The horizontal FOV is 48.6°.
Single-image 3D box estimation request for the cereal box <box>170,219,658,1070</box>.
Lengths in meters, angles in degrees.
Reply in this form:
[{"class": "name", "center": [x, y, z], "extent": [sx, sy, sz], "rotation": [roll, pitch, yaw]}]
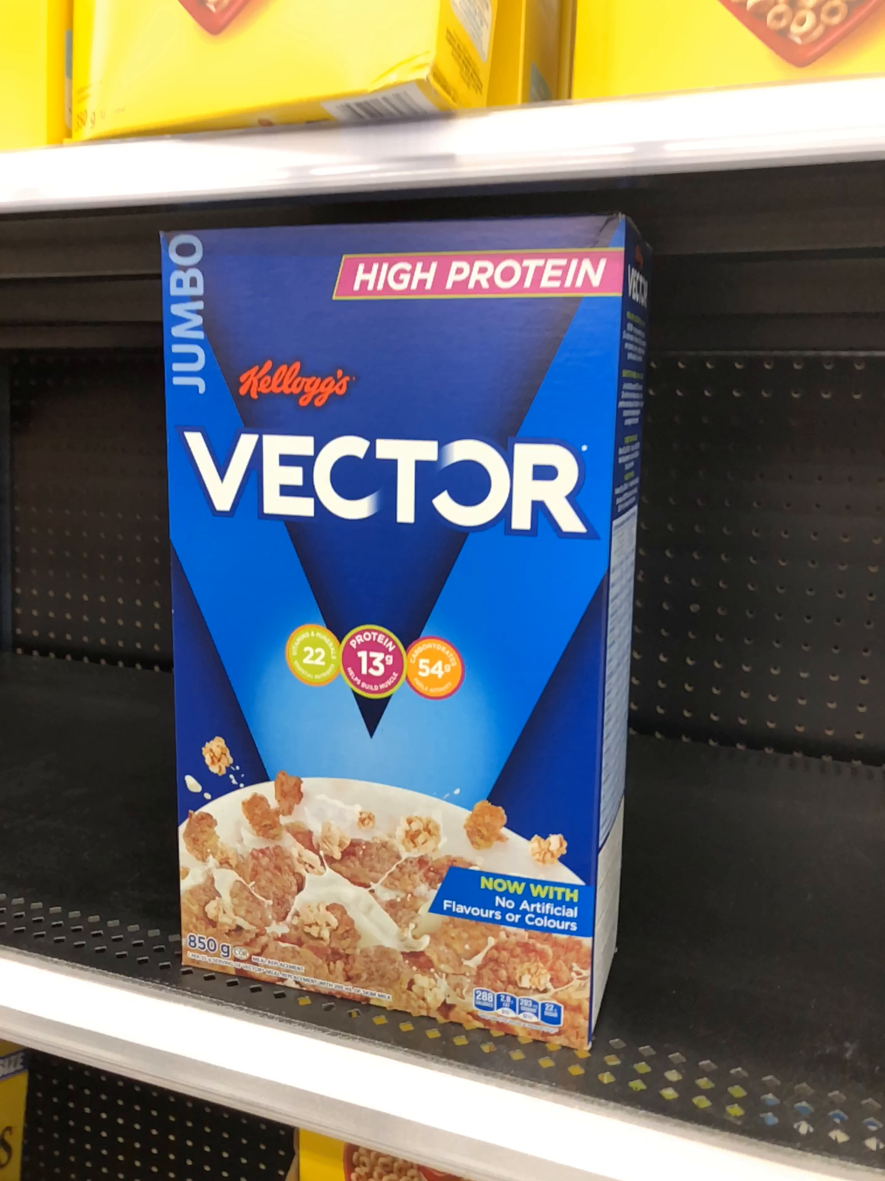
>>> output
[{"class": "cereal box", "center": [-0.014, 0.020, 0.461], "extent": [0.200, 0.349, 0.080], "rotation": [4, 10, 18]}]
